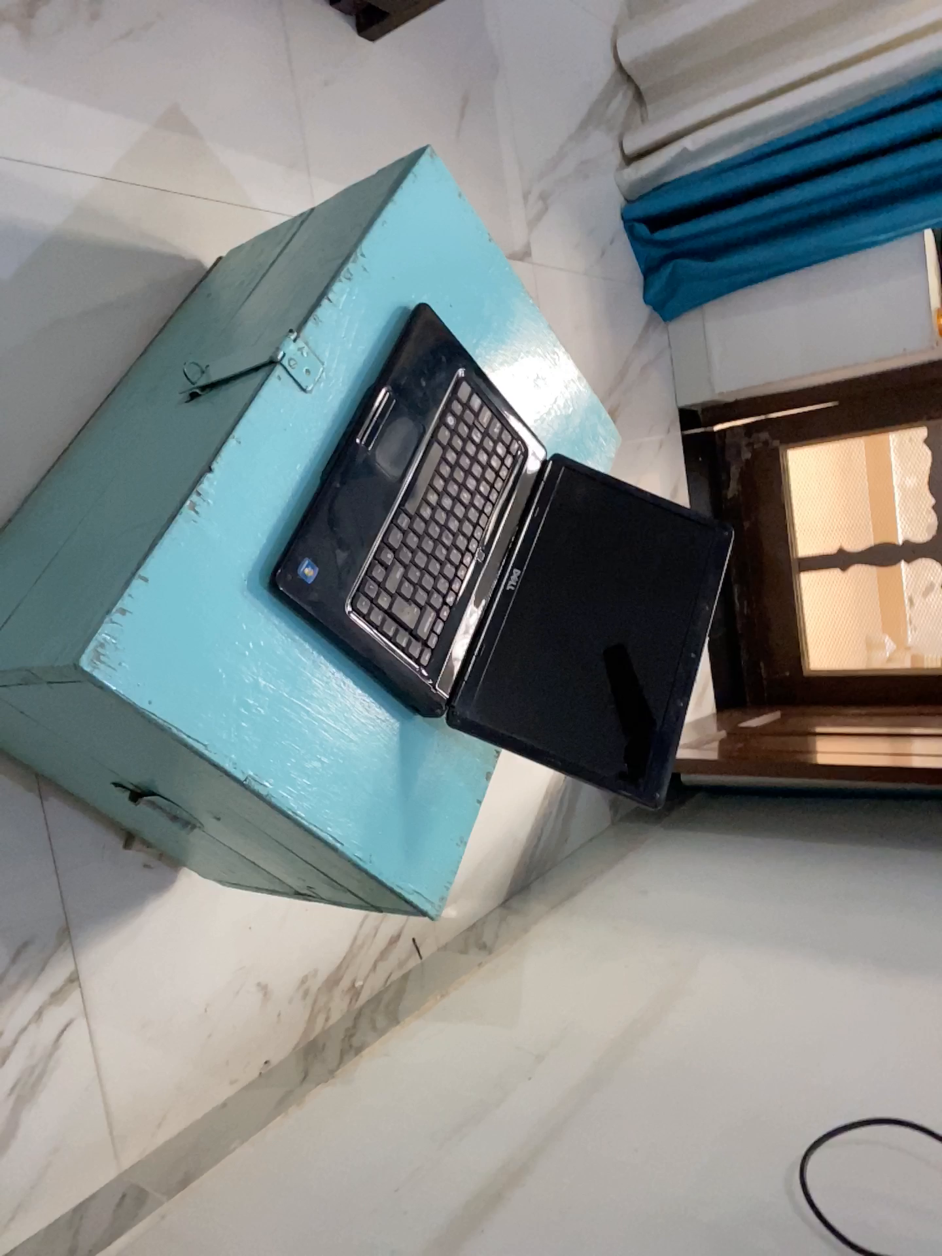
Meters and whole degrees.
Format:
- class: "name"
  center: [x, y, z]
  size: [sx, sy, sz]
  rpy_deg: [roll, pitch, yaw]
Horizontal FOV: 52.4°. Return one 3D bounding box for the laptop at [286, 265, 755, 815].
- class: "laptop"
  center: [0.088, -0.072, 0.980]
  size: [0.414, 0.162, 0.363]
  rpy_deg: [44, 55, -35]
